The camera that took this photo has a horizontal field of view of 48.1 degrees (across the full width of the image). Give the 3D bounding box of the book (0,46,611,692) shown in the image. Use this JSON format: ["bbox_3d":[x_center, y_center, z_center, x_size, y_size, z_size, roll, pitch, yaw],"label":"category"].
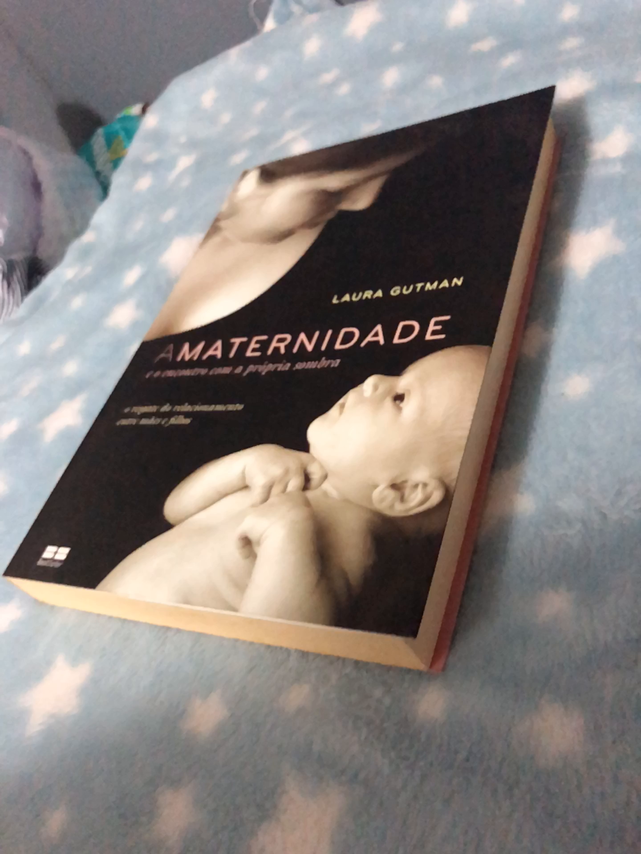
[{"bbox_3d":[0.006,-0.041,0.264,0.160,0.030,0.241,-1,51,33],"label":"book"}]
